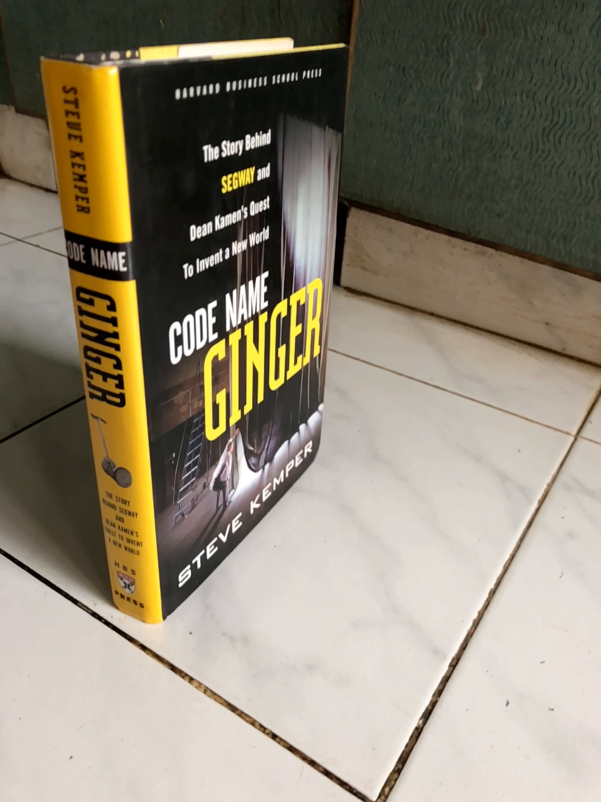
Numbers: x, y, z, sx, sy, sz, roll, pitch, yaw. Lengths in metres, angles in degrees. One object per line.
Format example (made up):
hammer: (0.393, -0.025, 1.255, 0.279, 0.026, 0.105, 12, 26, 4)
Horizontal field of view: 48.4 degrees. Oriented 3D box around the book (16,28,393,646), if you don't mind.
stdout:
book: (-0.025, -0.039, 0.321, 0.040, 0.239, 0.191, 18, 35, 23)
